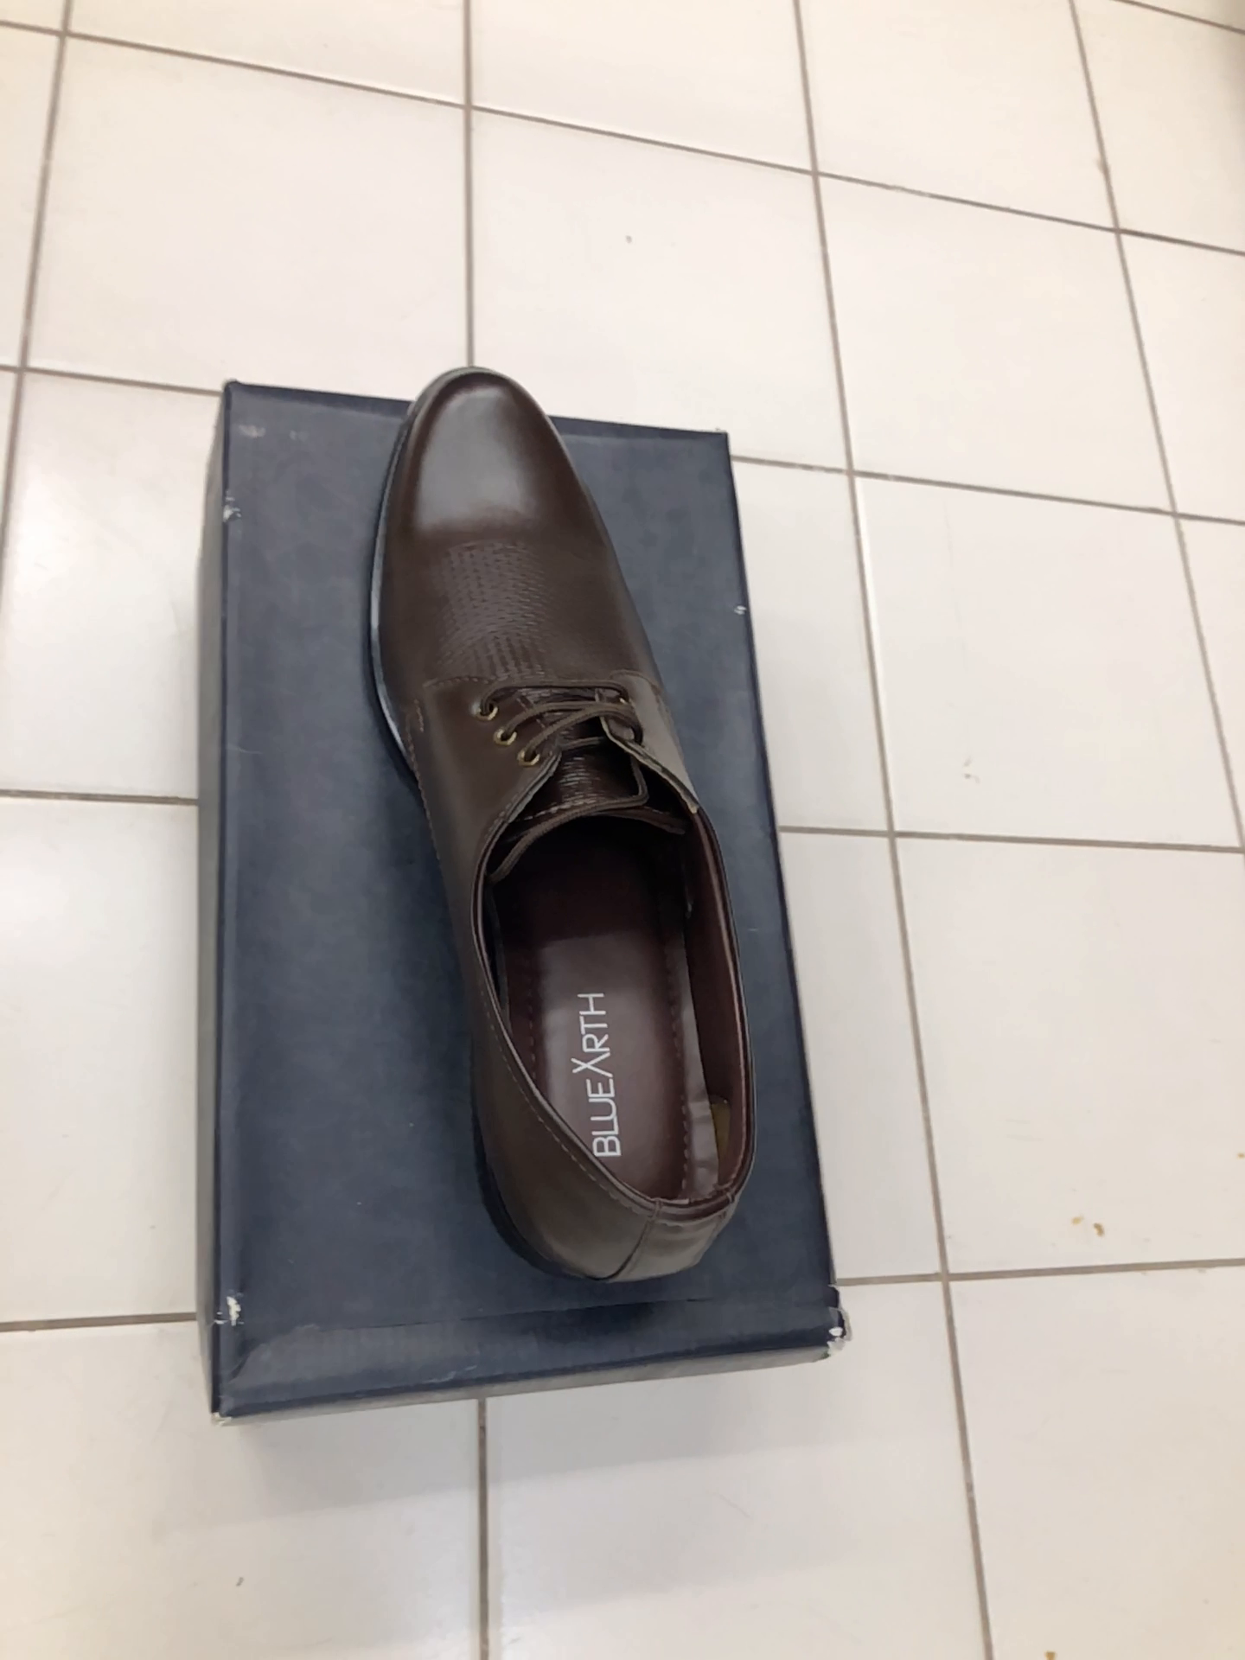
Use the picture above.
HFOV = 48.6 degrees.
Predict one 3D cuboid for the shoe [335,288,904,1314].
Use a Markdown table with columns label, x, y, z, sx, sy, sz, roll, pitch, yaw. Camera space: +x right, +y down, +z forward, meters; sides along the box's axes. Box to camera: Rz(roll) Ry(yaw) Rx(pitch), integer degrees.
| label | x | y | z | sx | sy | sz | roll | pitch | yaw |
| --- | --- | --- | --- | --- | --- | --- | --- | --- | --- |
| shoe | -0.016 | -0.010 | 0.432 | 0.104 | 0.109 | 0.290 | -5 | 73 | -19 |
